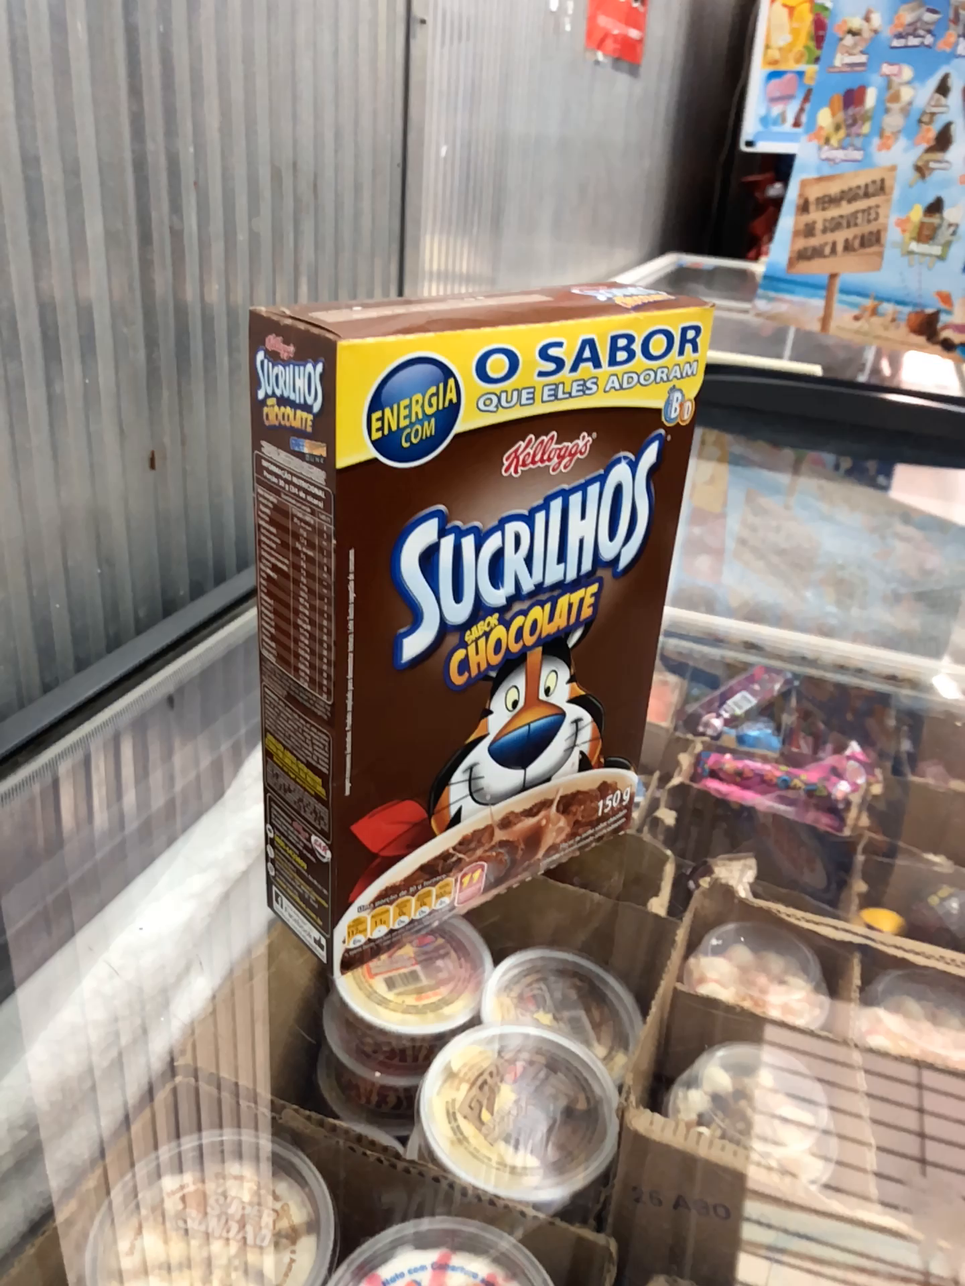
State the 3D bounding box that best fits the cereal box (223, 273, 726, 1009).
[{"bbox_3d":[-0.003,-0.007,0.354,0.150,0.209,0.050,-19,35,-39],"label":"cereal box"}]
